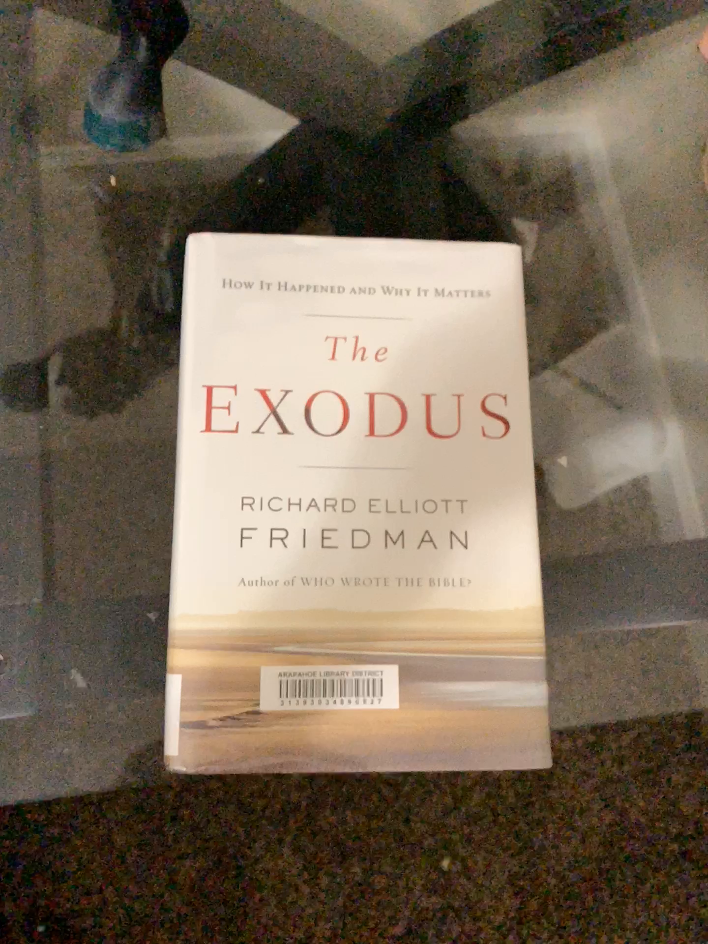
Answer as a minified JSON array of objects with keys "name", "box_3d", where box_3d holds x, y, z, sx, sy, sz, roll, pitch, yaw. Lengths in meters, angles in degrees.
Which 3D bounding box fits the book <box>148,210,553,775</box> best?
[{"name":"book","box_3d":[0.000,0.006,0.322,0.160,0.030,0.231,1,81,-6]}]
